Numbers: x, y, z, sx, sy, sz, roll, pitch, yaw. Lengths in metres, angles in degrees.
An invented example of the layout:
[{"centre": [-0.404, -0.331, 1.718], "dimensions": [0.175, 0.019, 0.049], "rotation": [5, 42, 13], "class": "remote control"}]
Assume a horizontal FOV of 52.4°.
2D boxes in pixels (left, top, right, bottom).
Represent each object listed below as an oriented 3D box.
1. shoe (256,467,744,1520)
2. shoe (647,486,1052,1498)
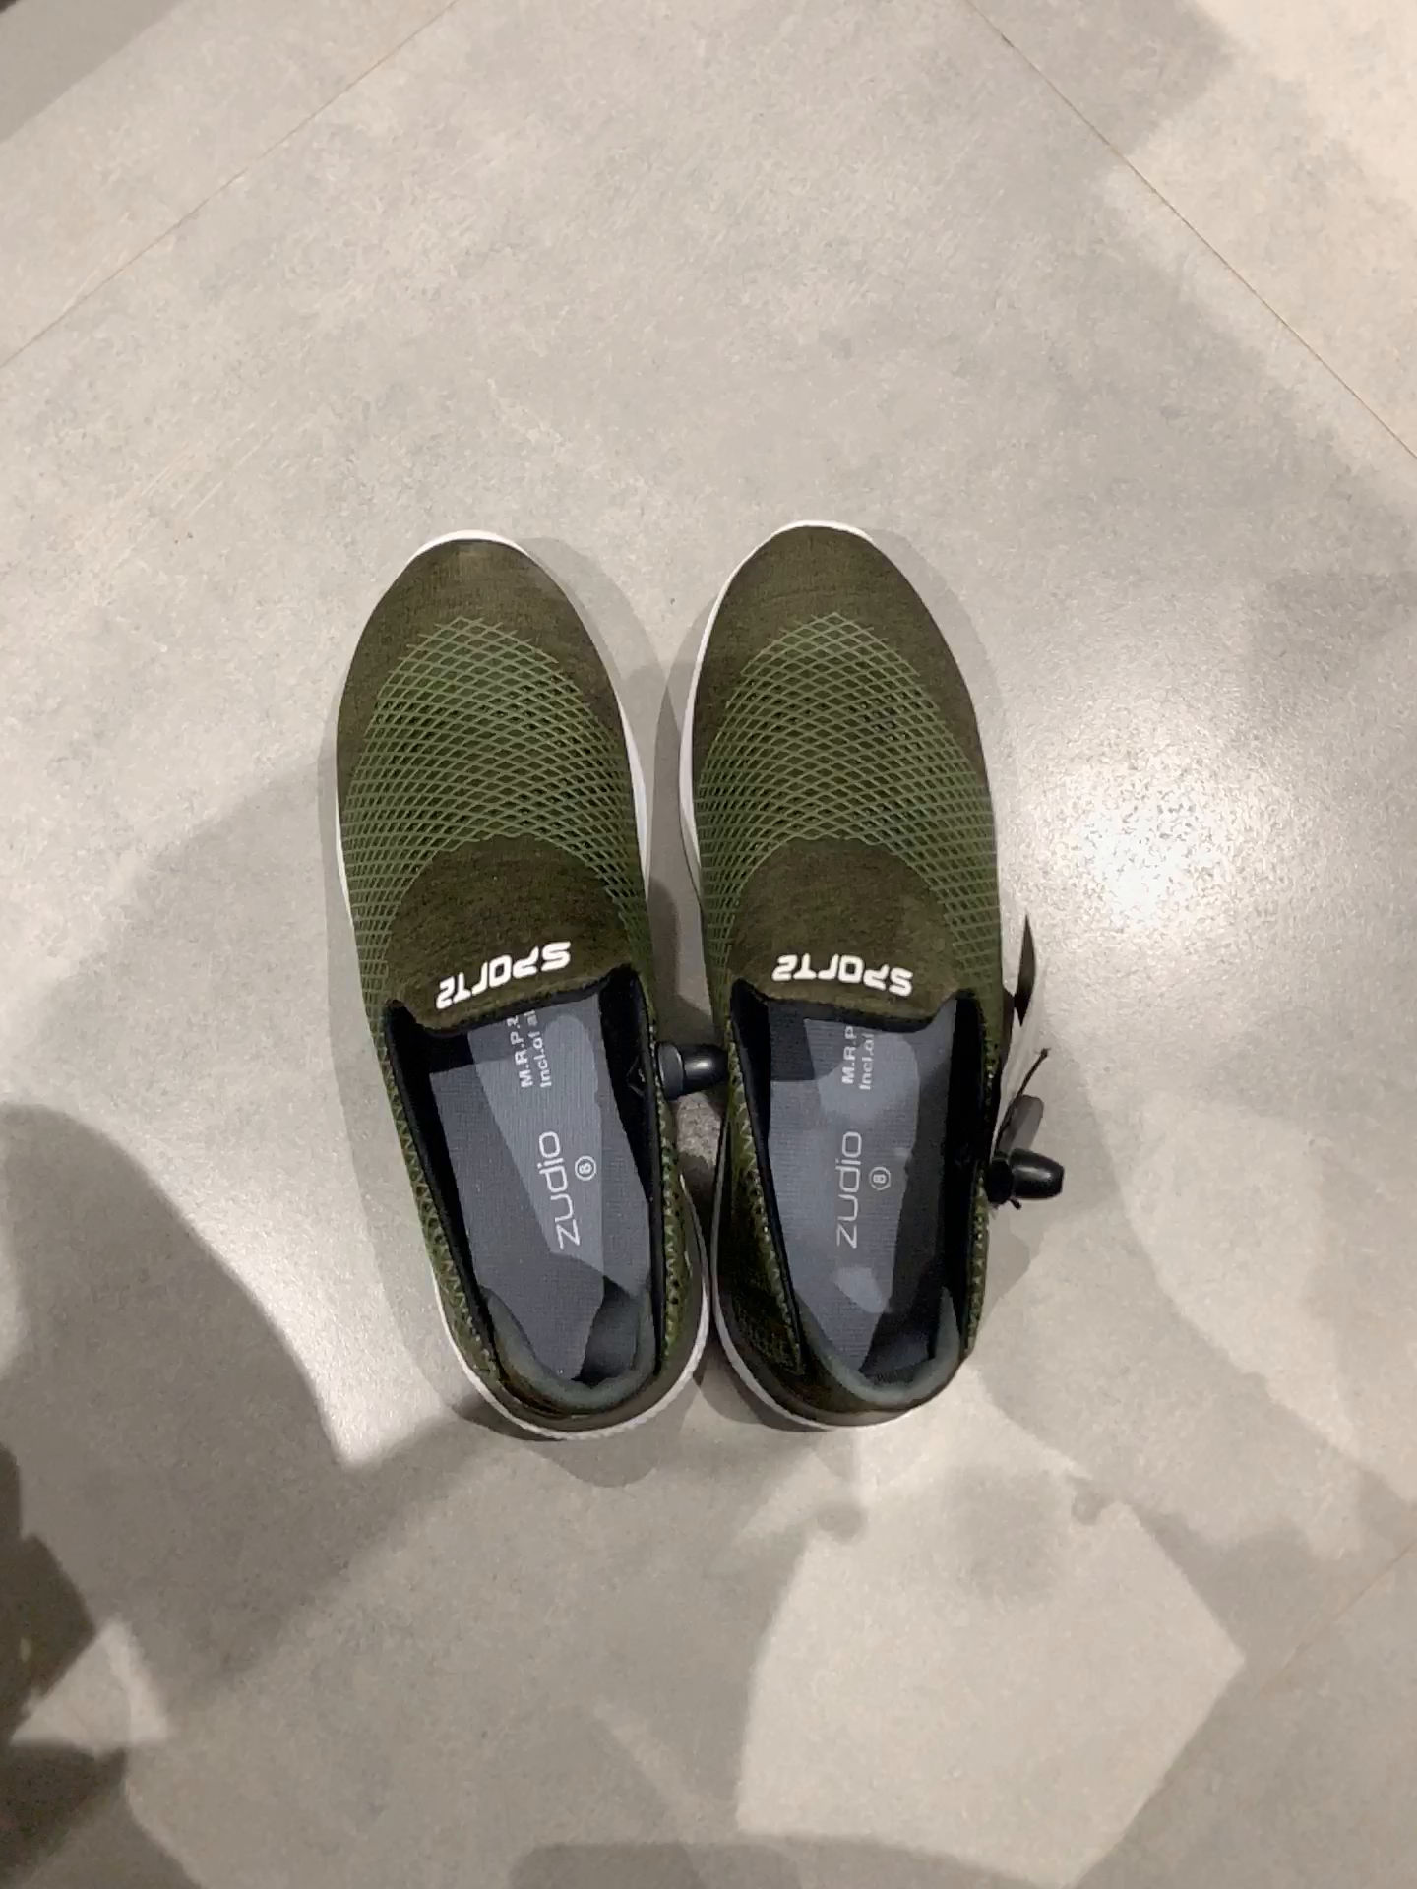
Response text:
[{"centre": [-0.060, 0.013, 0.447], "dimensions": [0.100, 0.100, 0.280], "rotation": [-8, 85, -2], "class": "shoe"}, {"centre": [0.037, 0.013, 0.453], "dimensions": [0.100, 0.100, 0.280], "rotation": [-2, 85, -1], "class": "shoe"}]
